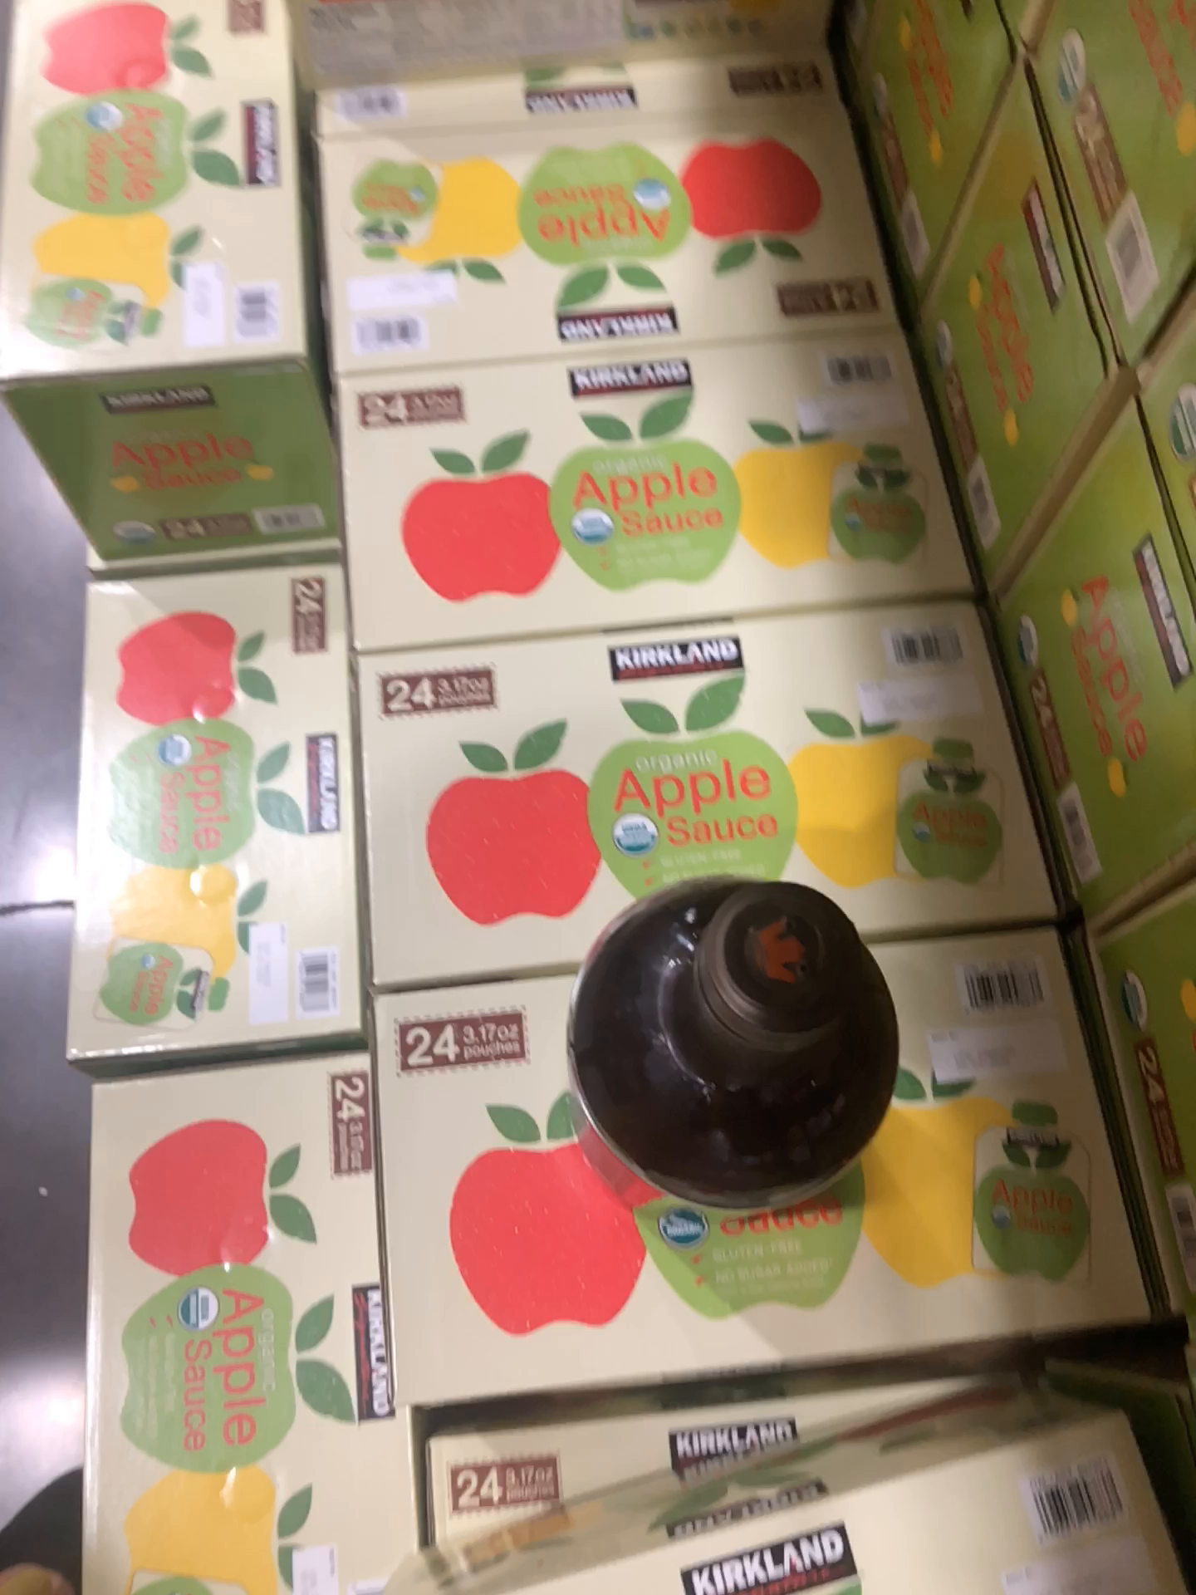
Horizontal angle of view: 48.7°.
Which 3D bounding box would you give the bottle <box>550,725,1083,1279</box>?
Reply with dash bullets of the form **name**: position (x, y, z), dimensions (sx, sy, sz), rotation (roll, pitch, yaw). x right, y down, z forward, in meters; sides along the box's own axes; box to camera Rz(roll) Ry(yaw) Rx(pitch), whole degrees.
- **bottle**: position (0.040, 0.075, 0.377), dimensions (0.090, 0.220, 0.100), rotation (-9, 70, -5)
